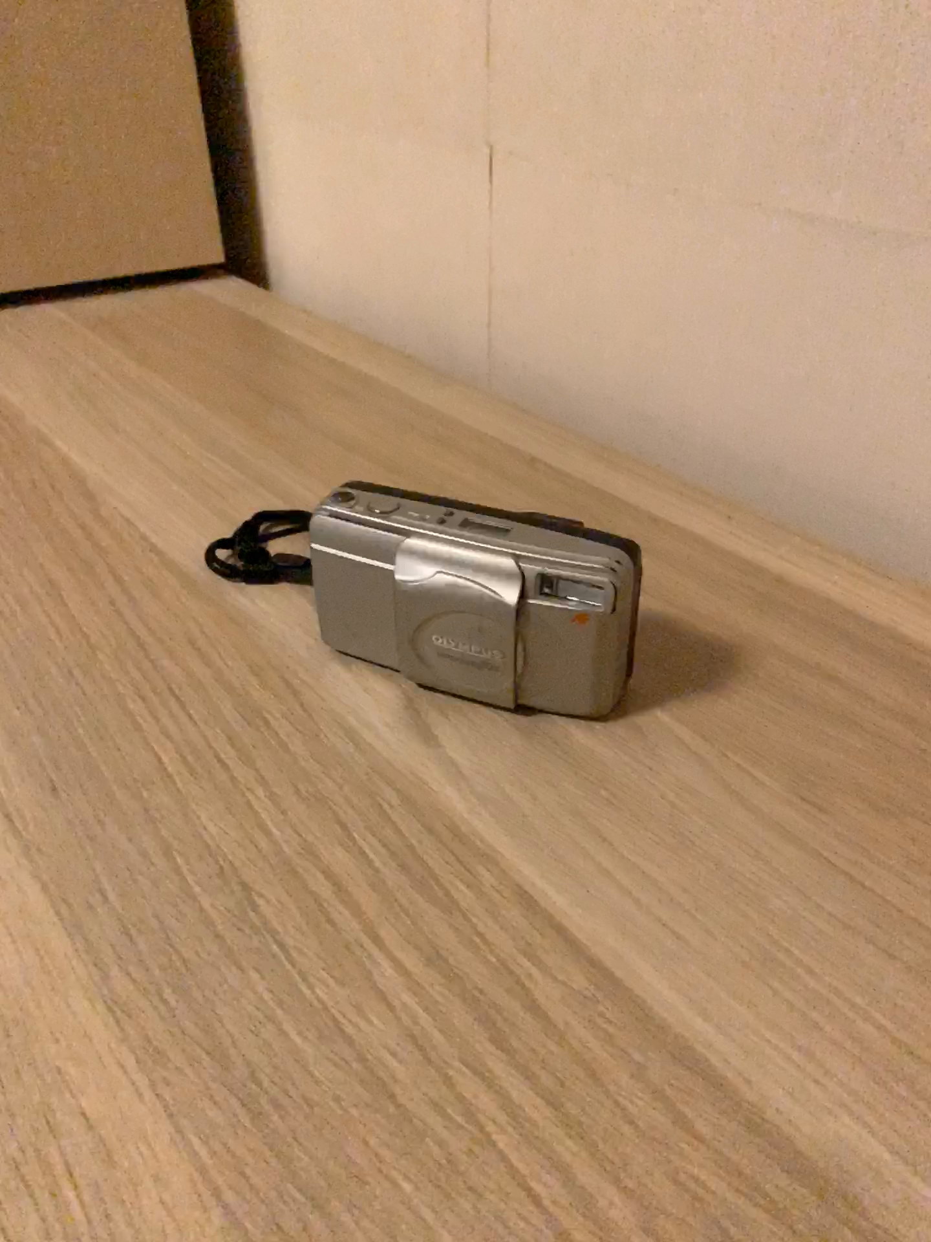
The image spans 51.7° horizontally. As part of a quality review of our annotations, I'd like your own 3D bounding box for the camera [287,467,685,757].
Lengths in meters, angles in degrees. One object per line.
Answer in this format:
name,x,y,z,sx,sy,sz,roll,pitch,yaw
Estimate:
camera,0.006,-0.007,0.339,0.126,0.059,0.046,15,37,21
